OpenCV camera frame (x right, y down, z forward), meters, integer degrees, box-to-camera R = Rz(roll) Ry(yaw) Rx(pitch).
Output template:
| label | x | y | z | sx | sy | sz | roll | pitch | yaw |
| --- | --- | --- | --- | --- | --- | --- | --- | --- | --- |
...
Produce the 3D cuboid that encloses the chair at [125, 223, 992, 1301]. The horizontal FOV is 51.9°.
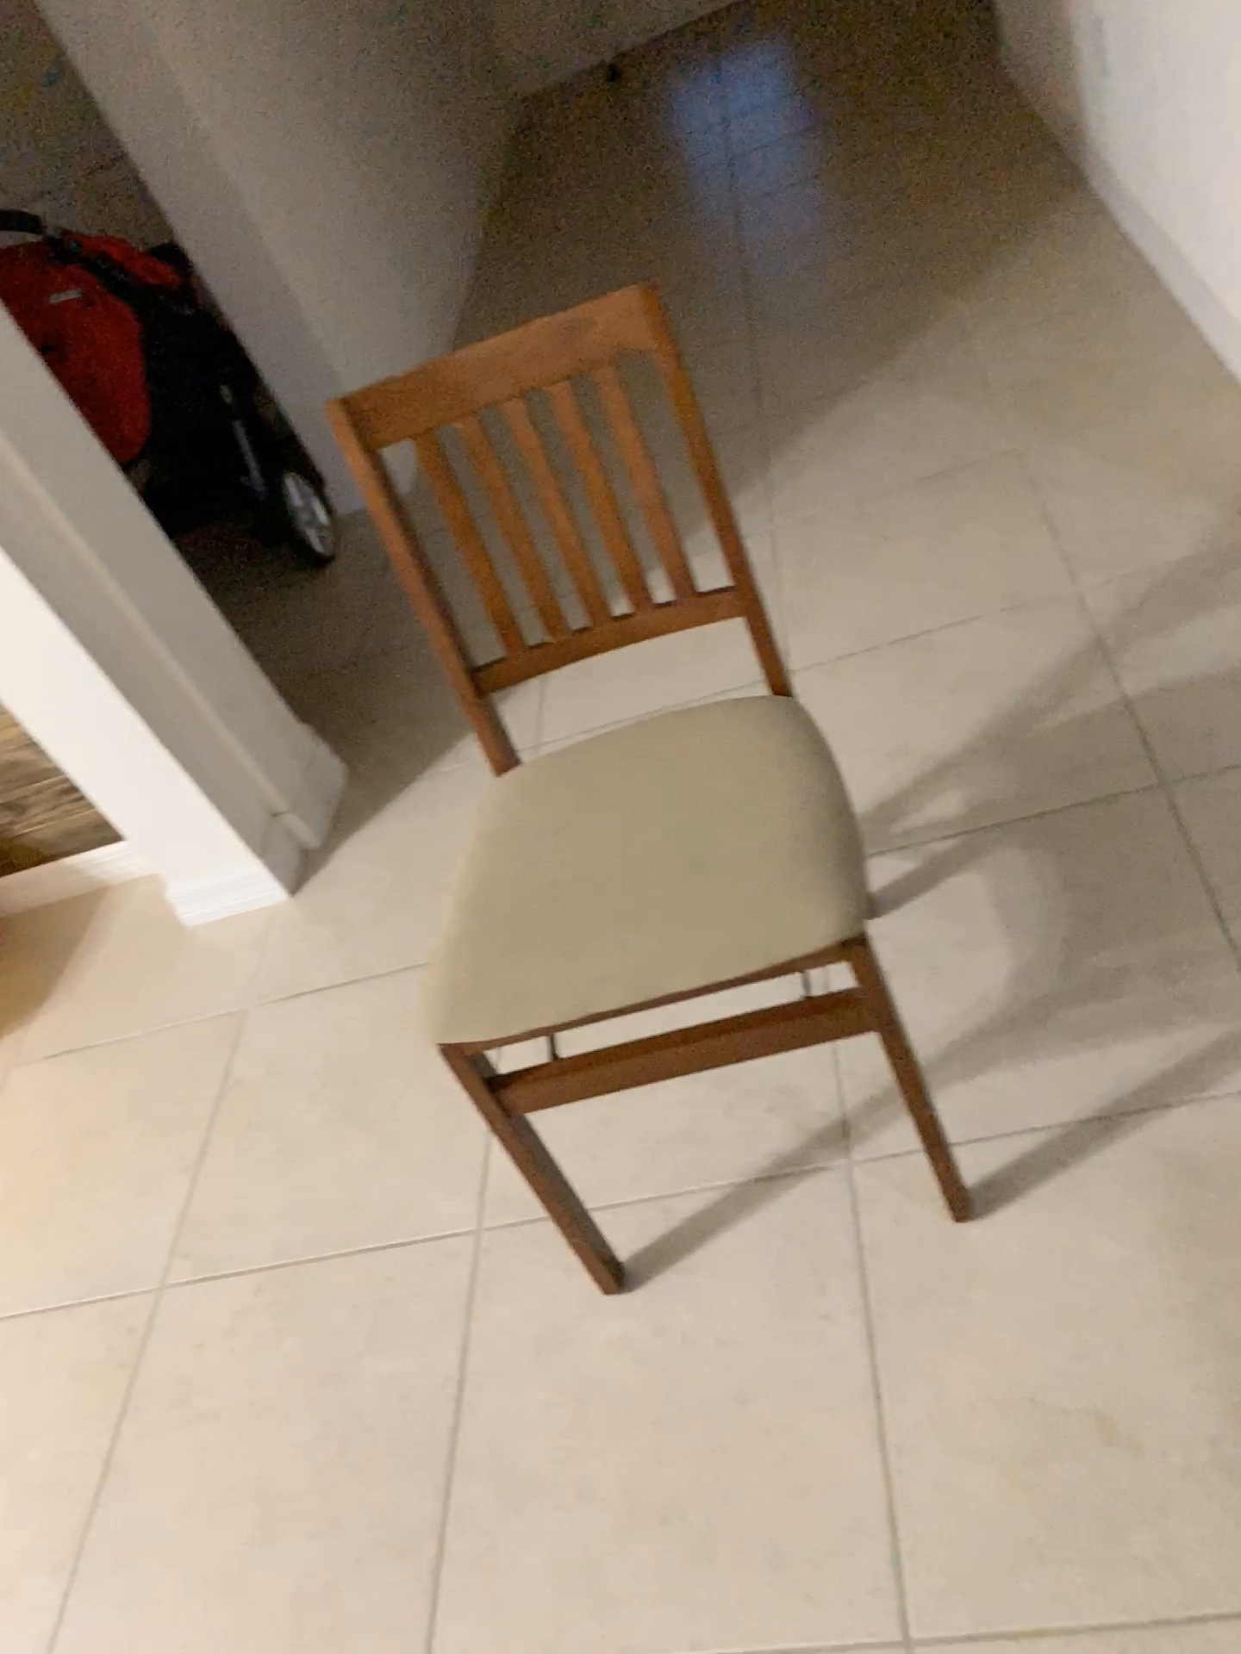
| label | x | y | z | sx | sy | sz | roll | pitch | yaw |
| --- | --- | --- | --- | --- | --- | --- | --- | --- | --- |
| chair | 0.023 | -0.022 | 1.347 | 0.450 | 0.881 | 0.596 | -16 | 40 | 15 |
